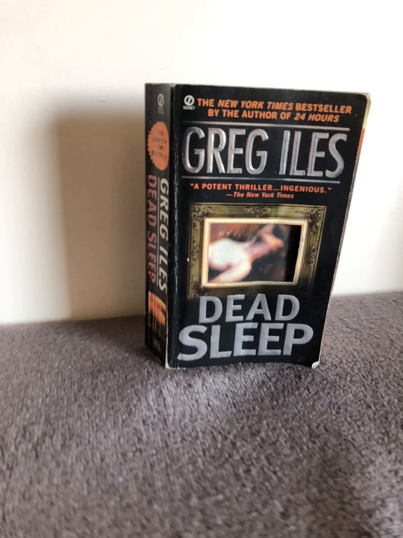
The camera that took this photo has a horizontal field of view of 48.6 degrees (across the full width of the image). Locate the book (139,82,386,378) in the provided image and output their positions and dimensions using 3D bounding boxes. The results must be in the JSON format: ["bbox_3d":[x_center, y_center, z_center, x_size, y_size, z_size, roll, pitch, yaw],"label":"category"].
[{"bbox_3d":[0.026,-0.025,0.276,0.123,0.163,0.061,-2,22,-12],"label":"book"}]
